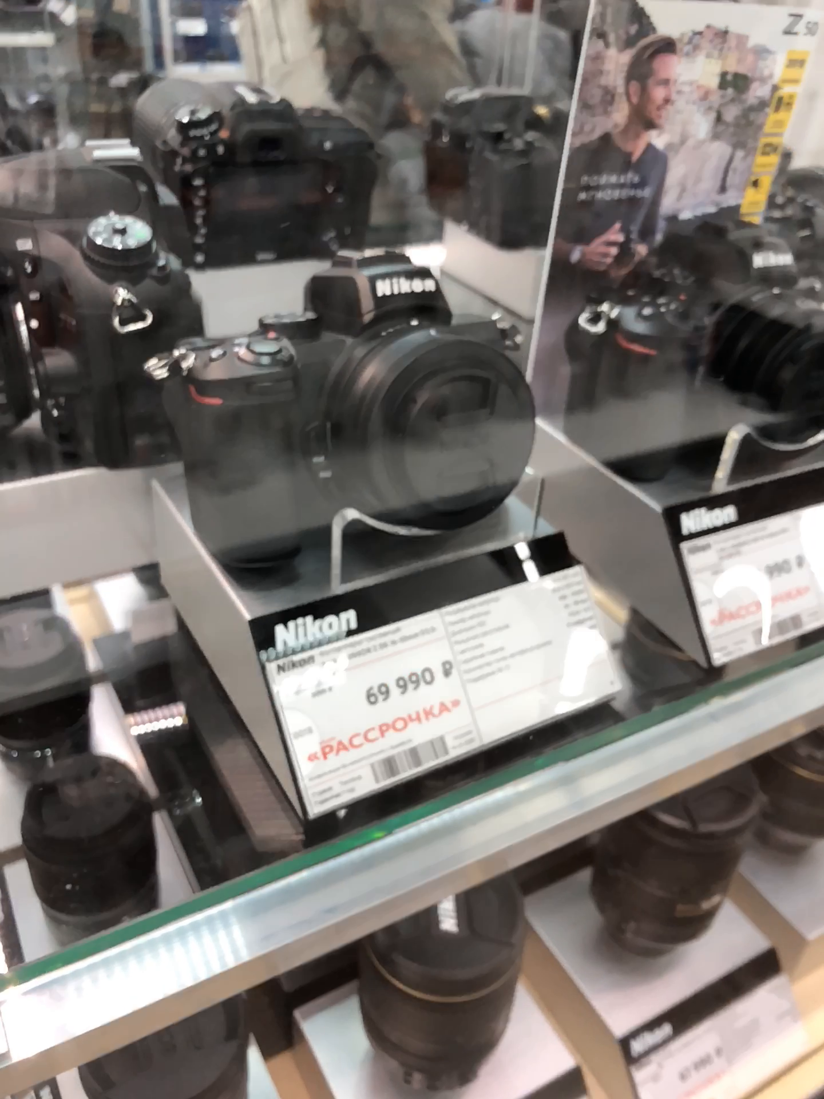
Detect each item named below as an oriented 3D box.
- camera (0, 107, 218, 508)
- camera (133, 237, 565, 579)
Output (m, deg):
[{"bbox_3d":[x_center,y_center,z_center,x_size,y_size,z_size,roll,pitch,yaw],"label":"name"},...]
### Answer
[{"bbox_3d":[-0.173,-0.107,0.383,0.150,0.112,0.130,-10,36,-26],"label":"camera"},{"bbox_3d":[-0.023,-0.061,0.345,0.127,0.092,0.090,-14,26,-26],"label":"camera"}]
